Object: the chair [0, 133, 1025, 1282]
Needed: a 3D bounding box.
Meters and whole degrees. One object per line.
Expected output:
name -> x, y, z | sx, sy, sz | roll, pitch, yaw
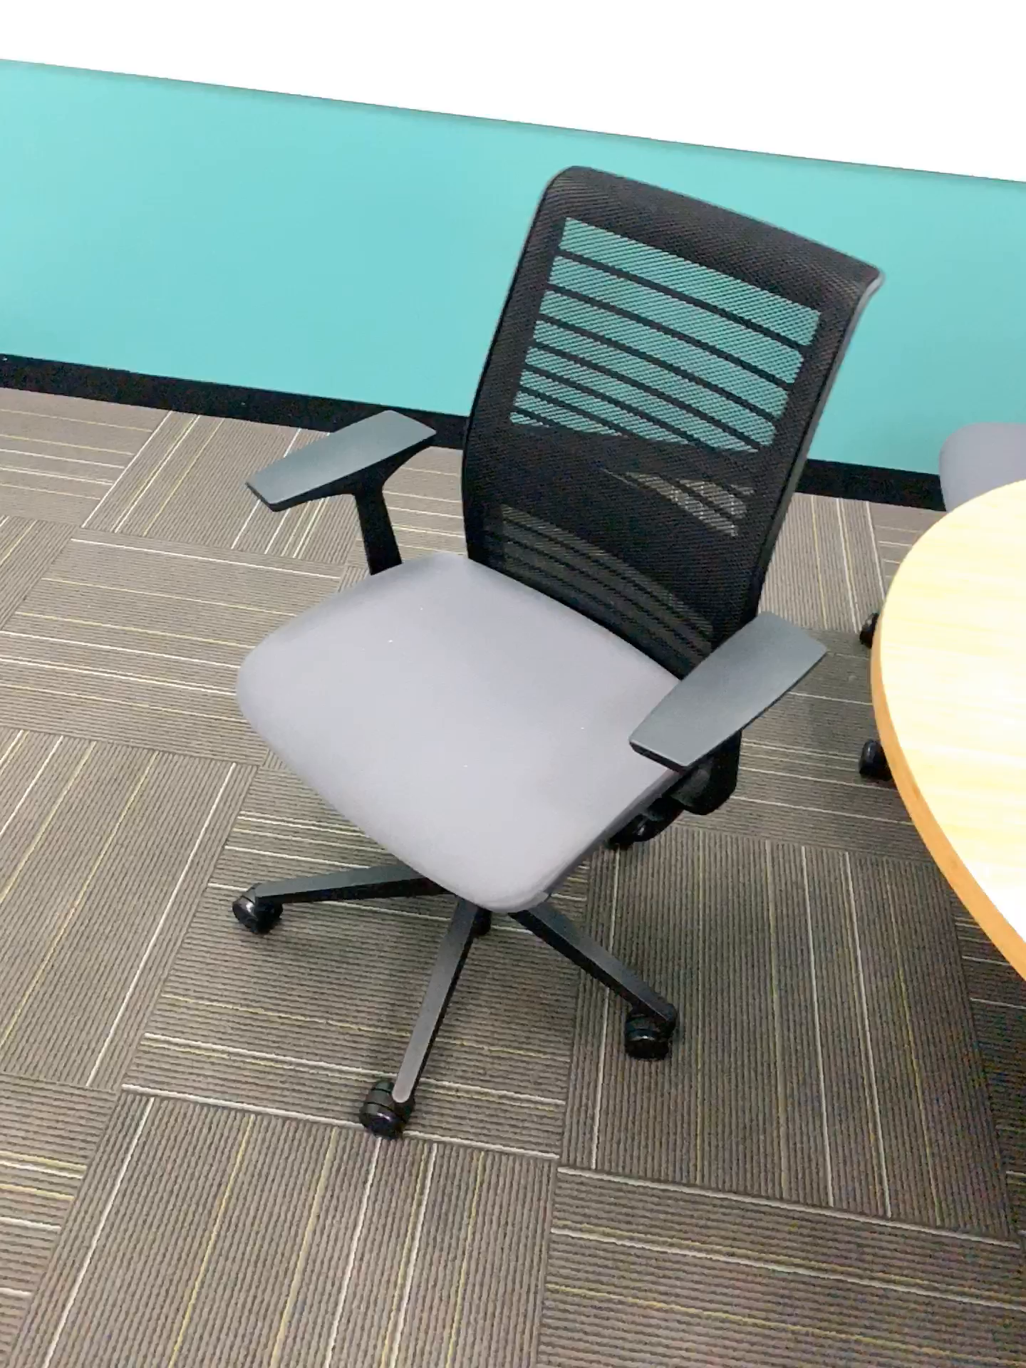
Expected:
chair -> 0.017, -0.008, 1.359 | 0.732, 0.985, 0.842 | 30, 48, 24
